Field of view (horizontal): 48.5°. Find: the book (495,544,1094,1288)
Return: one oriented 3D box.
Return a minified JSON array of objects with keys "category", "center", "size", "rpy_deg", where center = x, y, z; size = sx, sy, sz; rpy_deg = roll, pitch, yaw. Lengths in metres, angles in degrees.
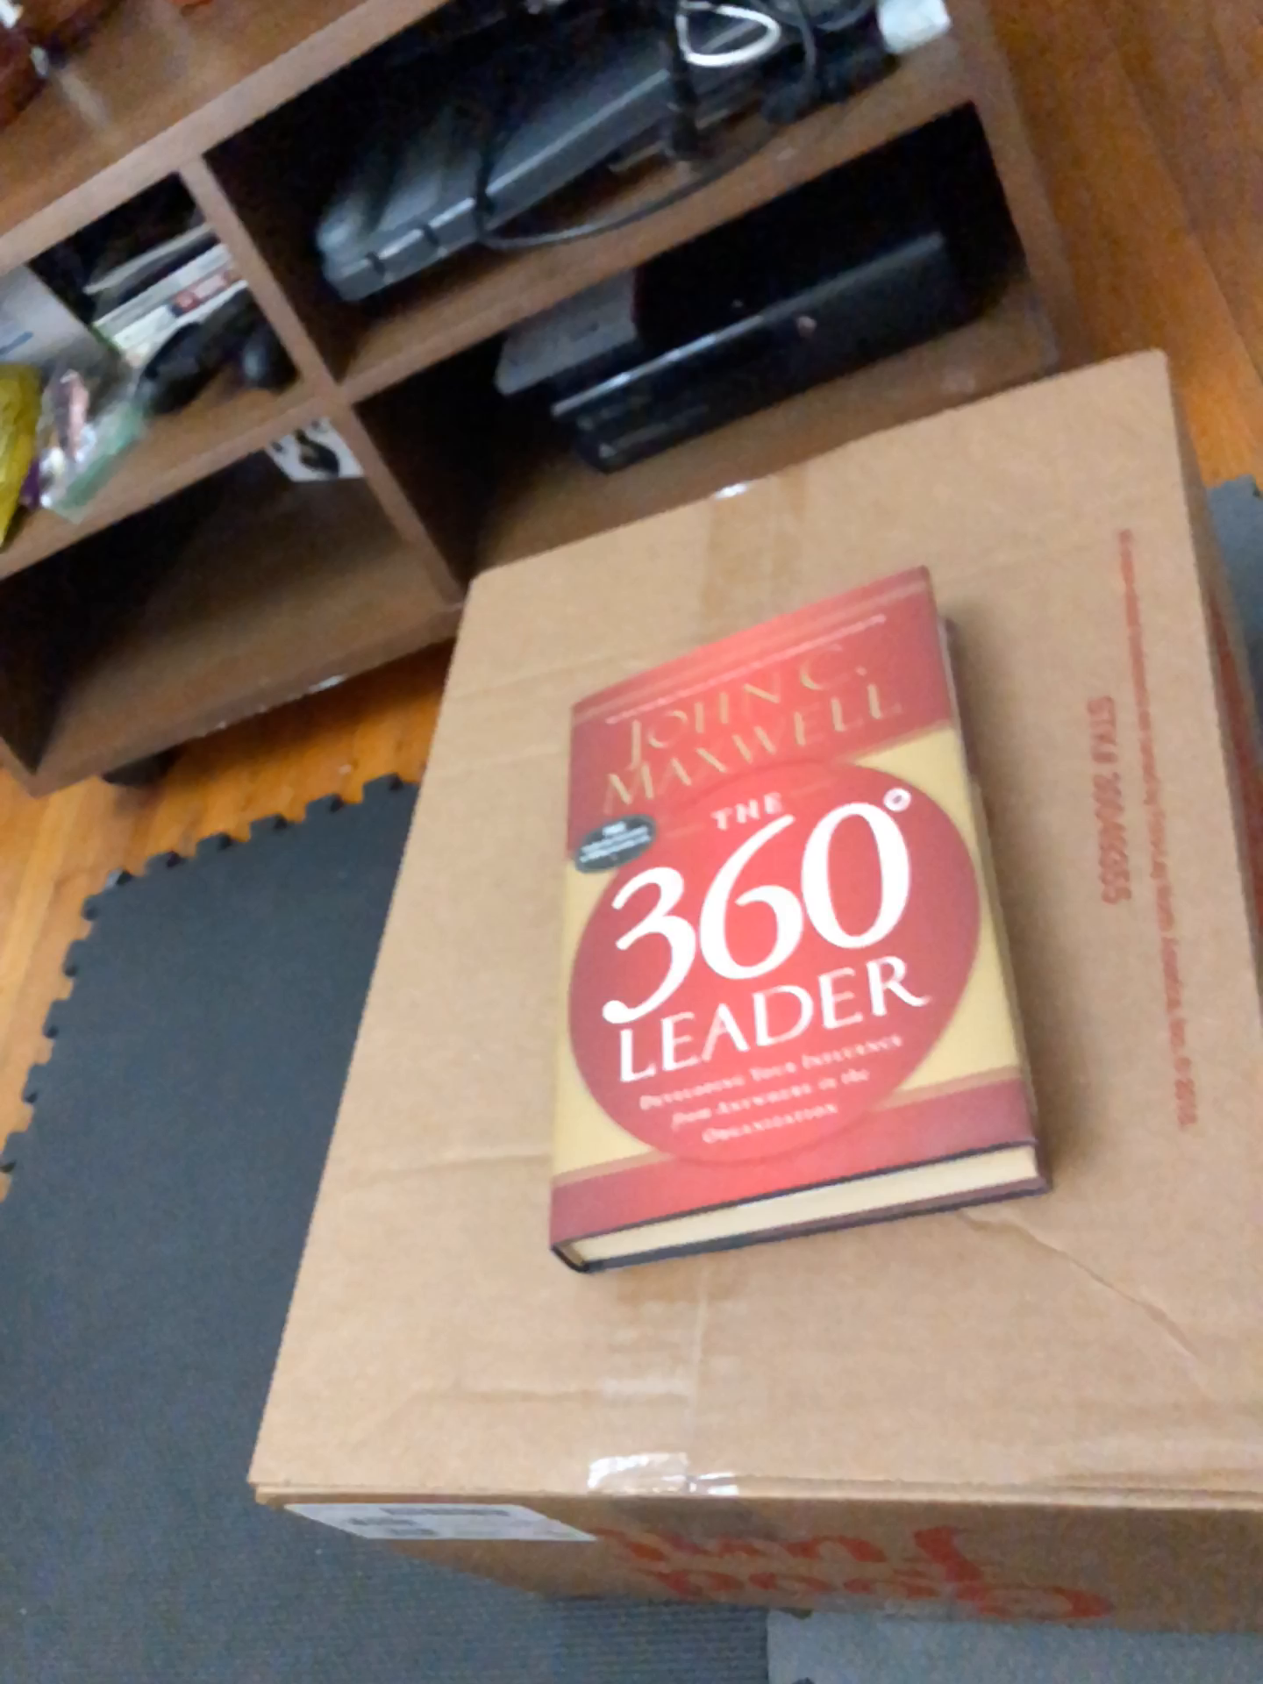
[{"category":"book","center":[0.046,0.019,0.489],"size":[0.180,0.030,0.241],"rpy_deg":[-18,48,24]}]
